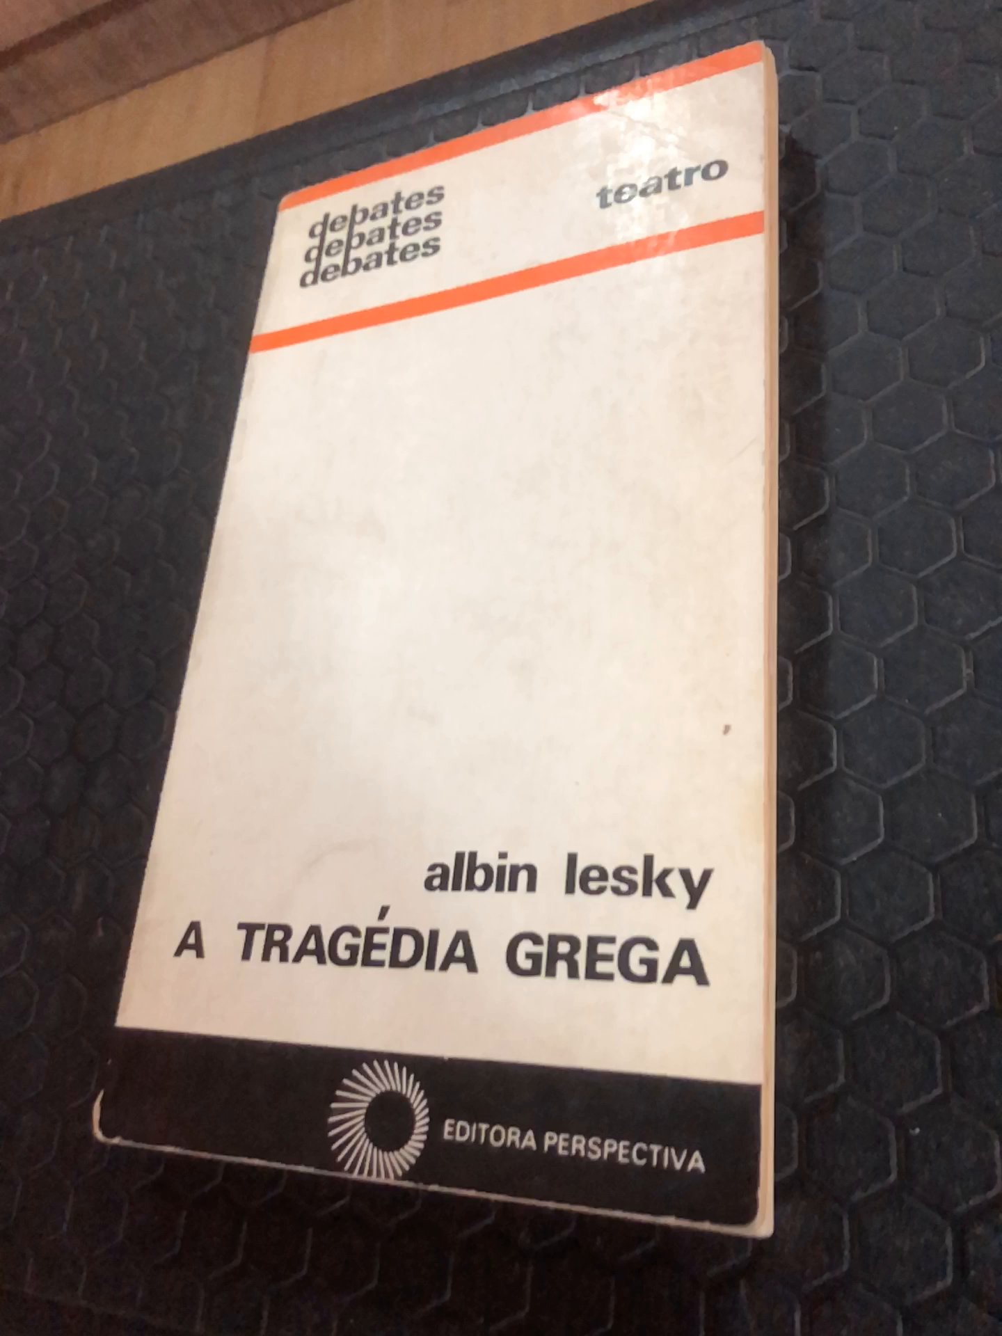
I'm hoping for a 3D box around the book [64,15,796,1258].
[{"bbox_3d":[-0.006,-0.018,0.205,0.114,0.020,0.207,-5,67,25],"label":"book"}]
